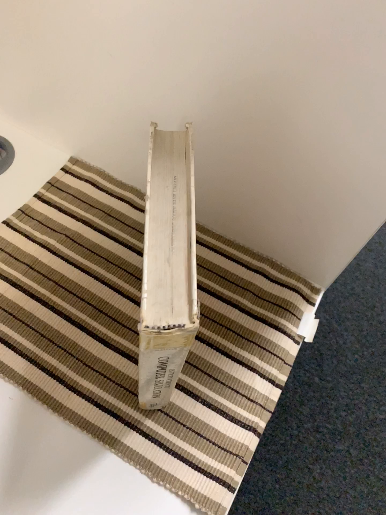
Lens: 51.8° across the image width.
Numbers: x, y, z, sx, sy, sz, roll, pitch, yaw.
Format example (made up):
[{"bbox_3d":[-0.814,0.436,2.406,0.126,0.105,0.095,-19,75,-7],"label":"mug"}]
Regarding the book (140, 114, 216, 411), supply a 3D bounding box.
[{"bbox_3d":[-0.028,0.026,0.360,0.040,0.238,0.171,0,59,-8],"label":"book"}]
